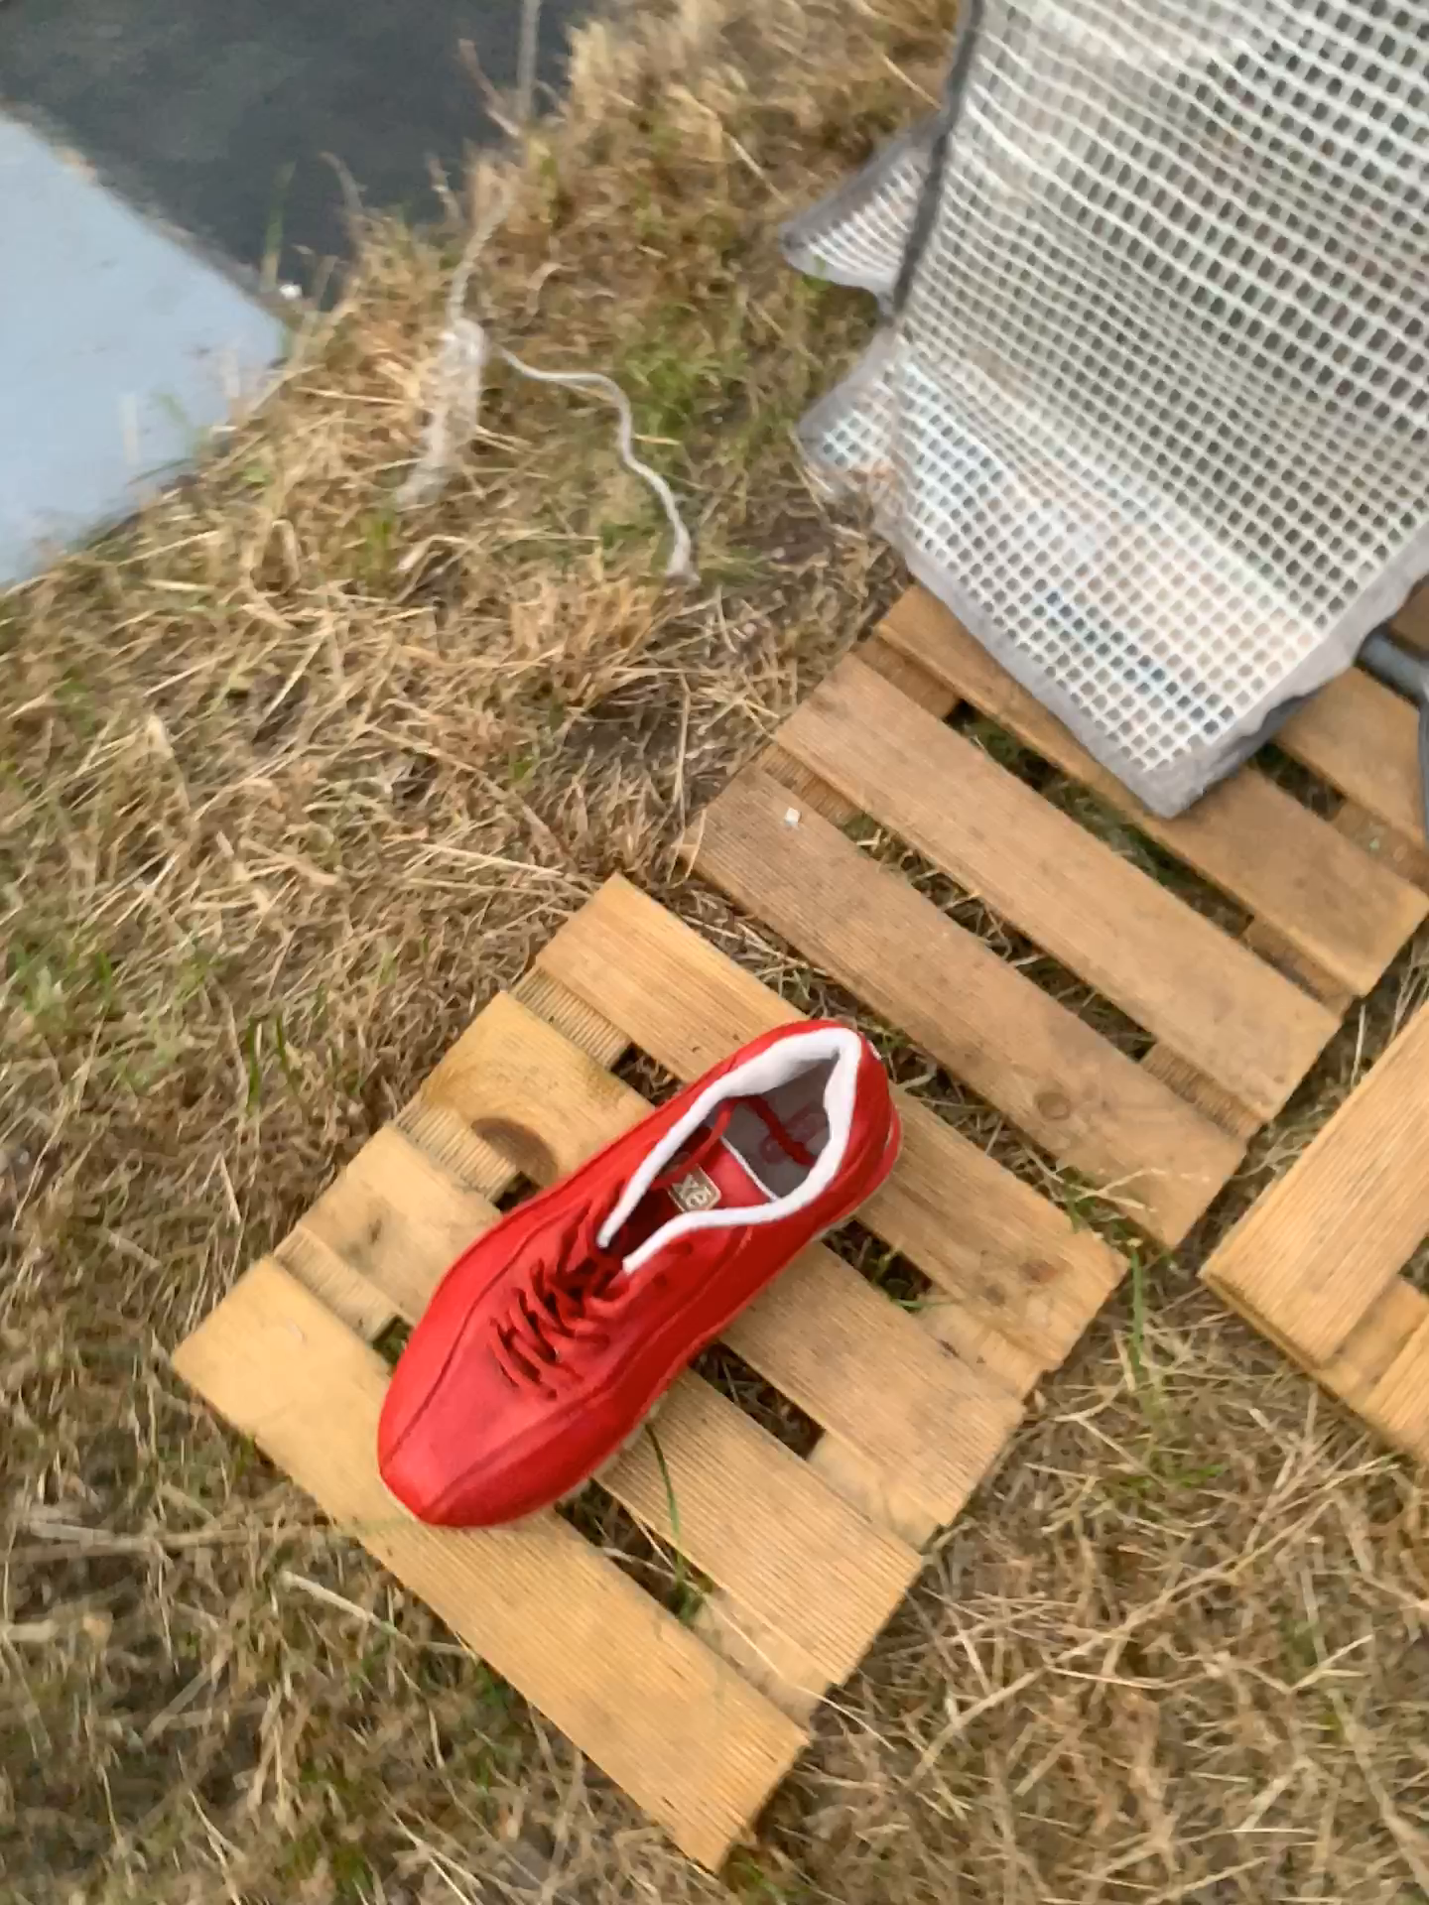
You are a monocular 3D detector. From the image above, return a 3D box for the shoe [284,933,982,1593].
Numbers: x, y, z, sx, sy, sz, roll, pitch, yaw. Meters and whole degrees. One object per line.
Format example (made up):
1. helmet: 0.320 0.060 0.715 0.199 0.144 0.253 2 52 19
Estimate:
1. shoe: -0.026 0.125 0.600 0.260 0.100 0.100 -39 74 -9
